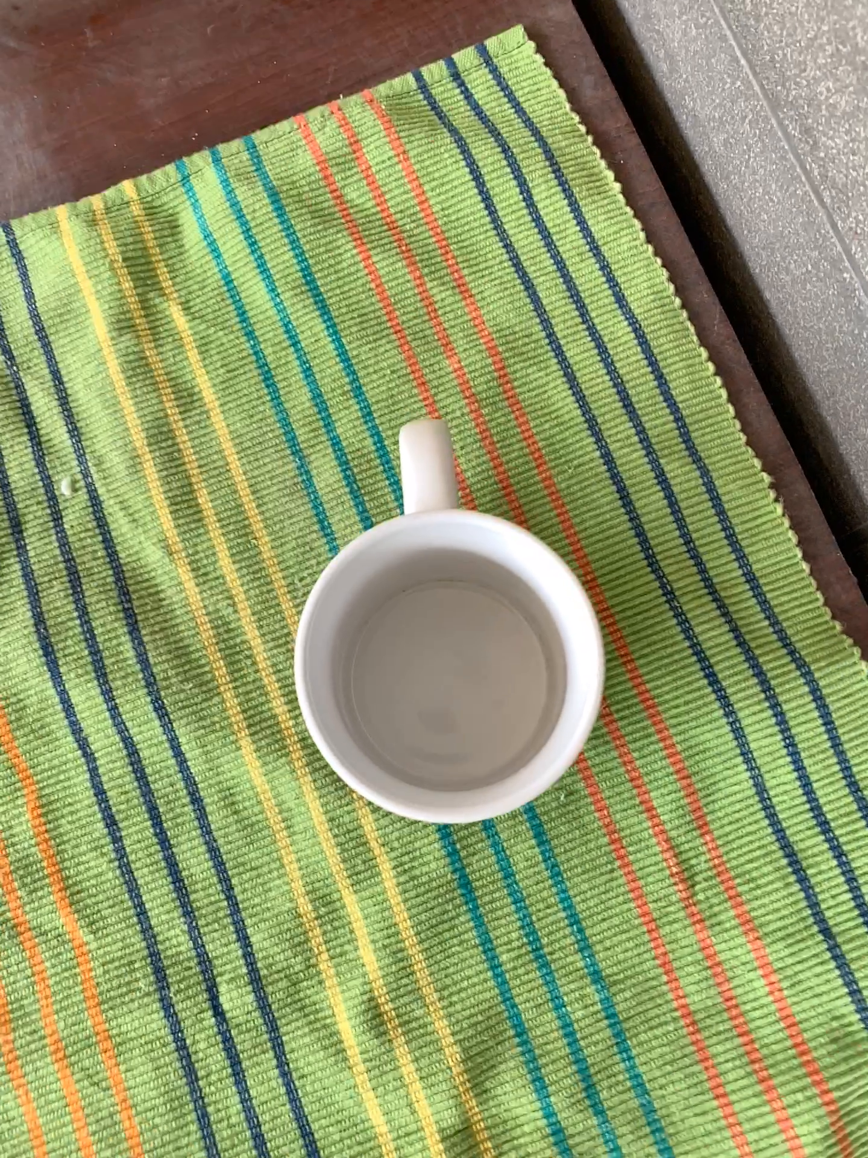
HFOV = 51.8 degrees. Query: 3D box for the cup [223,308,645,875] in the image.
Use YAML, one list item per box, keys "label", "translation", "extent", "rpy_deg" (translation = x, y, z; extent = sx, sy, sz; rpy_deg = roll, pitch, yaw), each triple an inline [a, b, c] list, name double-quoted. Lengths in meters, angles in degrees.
- label: "cup"
  translation: [-0.002, 0.008, 0.274]
  extent: [0.080, 0.100, 0.130]
  rpy_deg: [-12, 81, -2]
